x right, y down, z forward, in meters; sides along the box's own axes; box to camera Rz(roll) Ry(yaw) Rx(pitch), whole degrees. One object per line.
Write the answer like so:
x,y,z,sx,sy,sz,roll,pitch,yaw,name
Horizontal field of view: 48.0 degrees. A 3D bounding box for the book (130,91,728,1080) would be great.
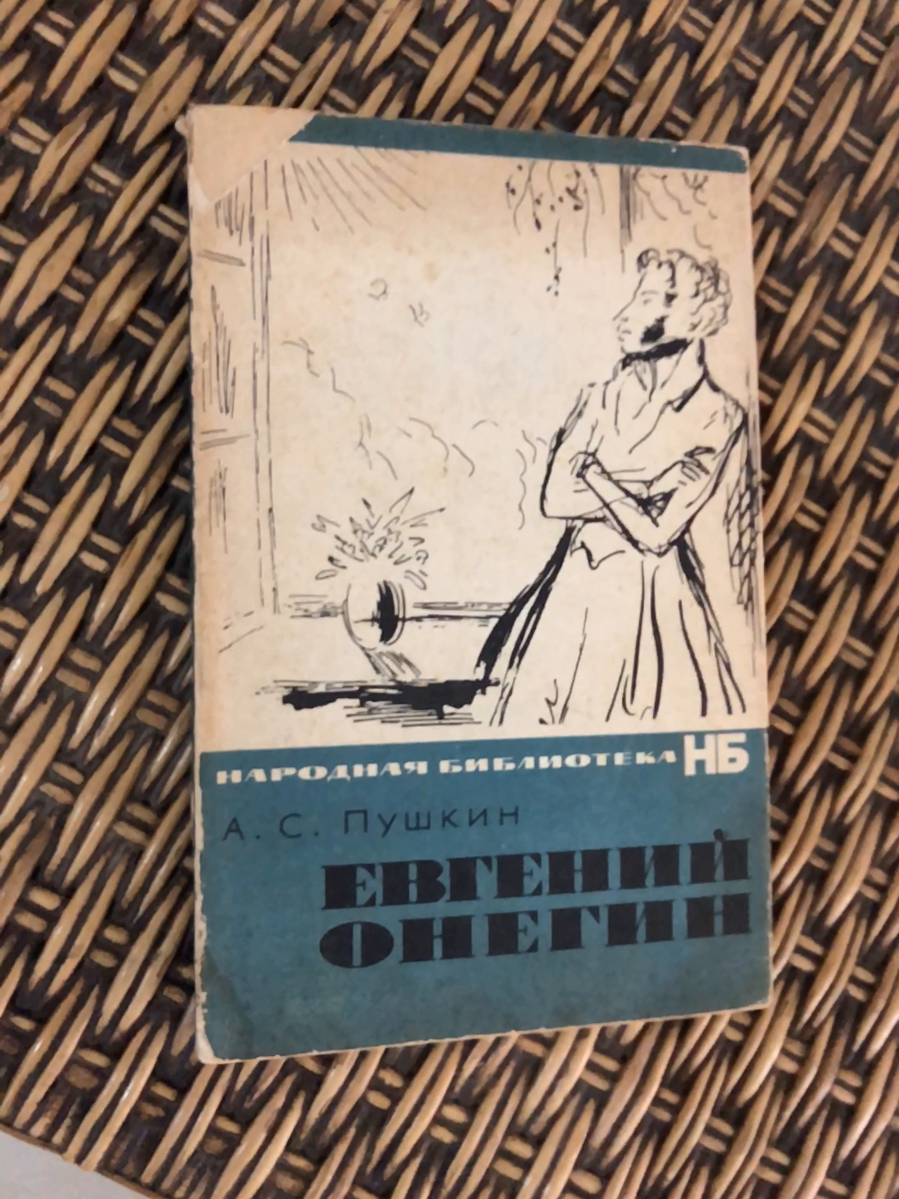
-0.004,-0.005,0.215,0.120,0.020,0.190,-1,88,-11,book
